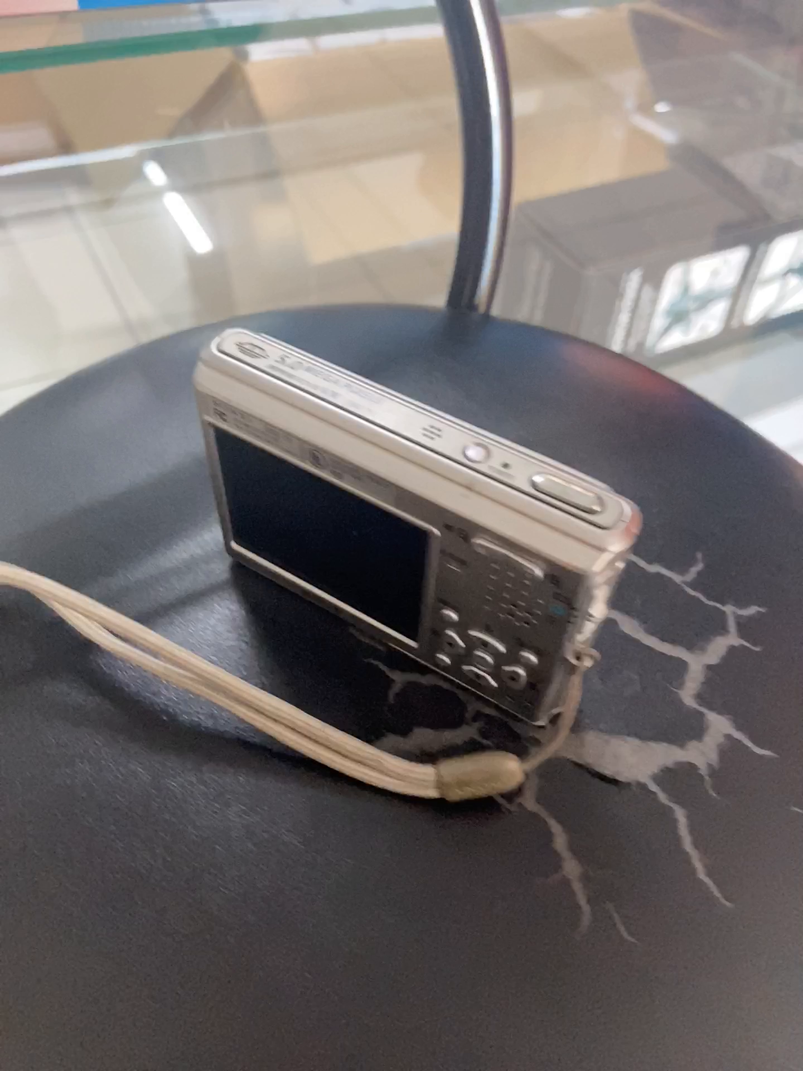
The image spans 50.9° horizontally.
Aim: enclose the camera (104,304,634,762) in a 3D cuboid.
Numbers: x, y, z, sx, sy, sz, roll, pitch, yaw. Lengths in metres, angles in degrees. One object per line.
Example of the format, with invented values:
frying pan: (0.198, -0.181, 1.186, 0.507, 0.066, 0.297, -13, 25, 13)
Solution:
camera: (-0.010, -0.001, 0.183, 0.100, 0.060, 0.030, 25, 52, 17)
